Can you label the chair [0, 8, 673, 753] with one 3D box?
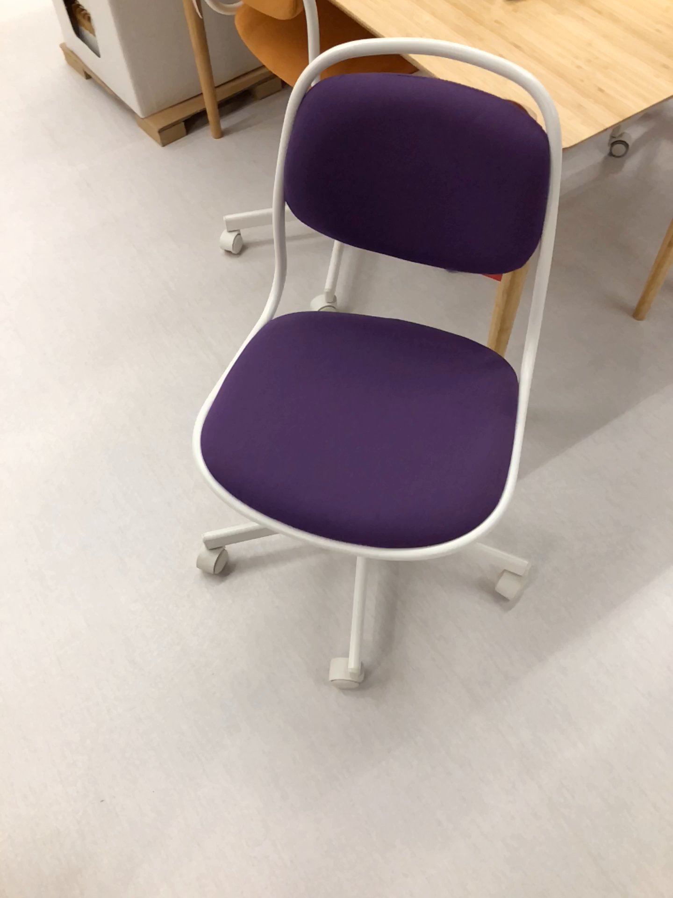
[{"bbox_3d":[0.077,-0.058,1.122,0.621,0.776,0.663,16,59,12],"label":"chair"}]
